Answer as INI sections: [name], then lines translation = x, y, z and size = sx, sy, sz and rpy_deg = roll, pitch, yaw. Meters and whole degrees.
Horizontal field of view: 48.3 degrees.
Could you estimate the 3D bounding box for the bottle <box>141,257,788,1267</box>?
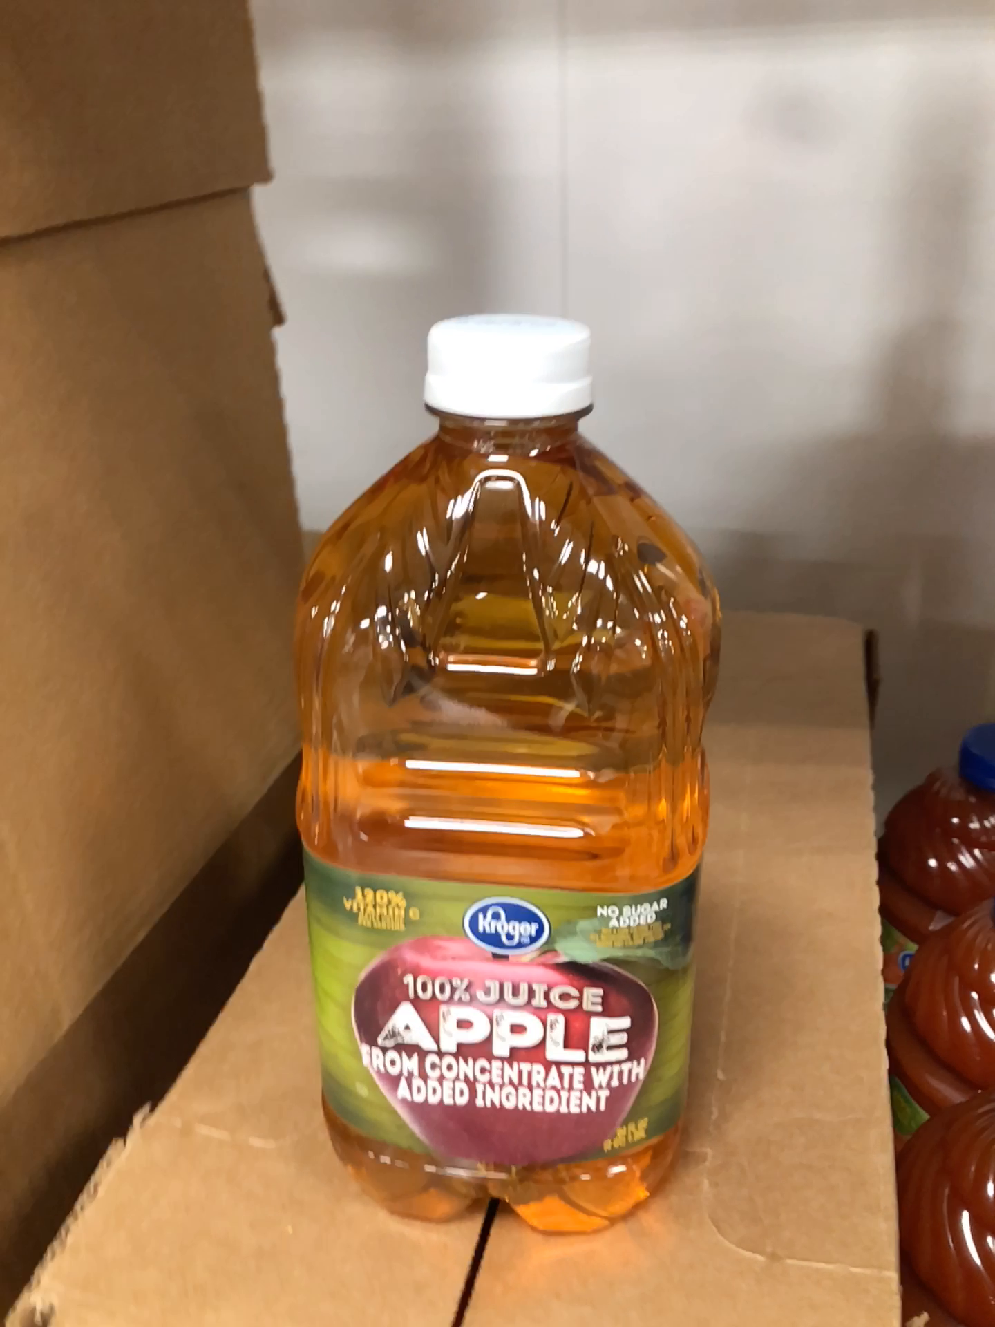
[bottle]
translation = 0.004, 0.033, 0.308
size = 0.120, 0.259, 0.100
rpy_deg = 2, 29, 8
